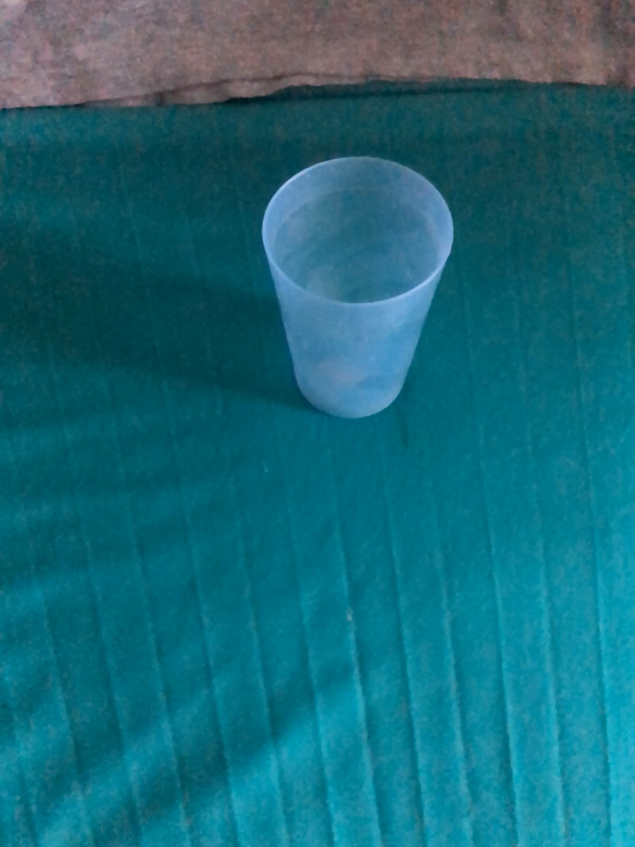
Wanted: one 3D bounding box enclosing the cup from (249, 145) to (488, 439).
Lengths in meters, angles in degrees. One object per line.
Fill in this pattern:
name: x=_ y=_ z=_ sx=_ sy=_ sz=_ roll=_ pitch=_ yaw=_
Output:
cup: x=0.017 y=-0.047 z=0.297 sx=0.078 sy=0.119 sz=0.066 roll=1 pitch=67 yaw=0
